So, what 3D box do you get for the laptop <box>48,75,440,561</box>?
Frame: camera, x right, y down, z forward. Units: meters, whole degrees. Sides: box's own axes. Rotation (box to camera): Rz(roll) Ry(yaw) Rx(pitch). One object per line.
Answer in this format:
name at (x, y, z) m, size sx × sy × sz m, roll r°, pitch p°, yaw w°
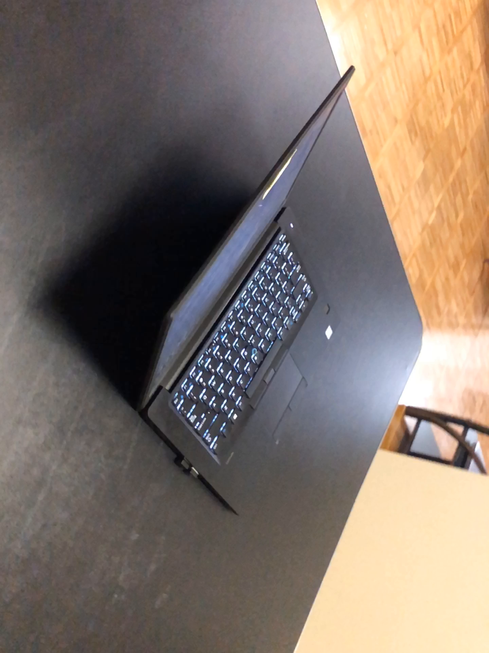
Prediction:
laptop at (0.051, -0.001, 0.581) m, size 0.320 × 0.140 × 0.369 m, roll -57°, pitch 133°, yaw -29°
